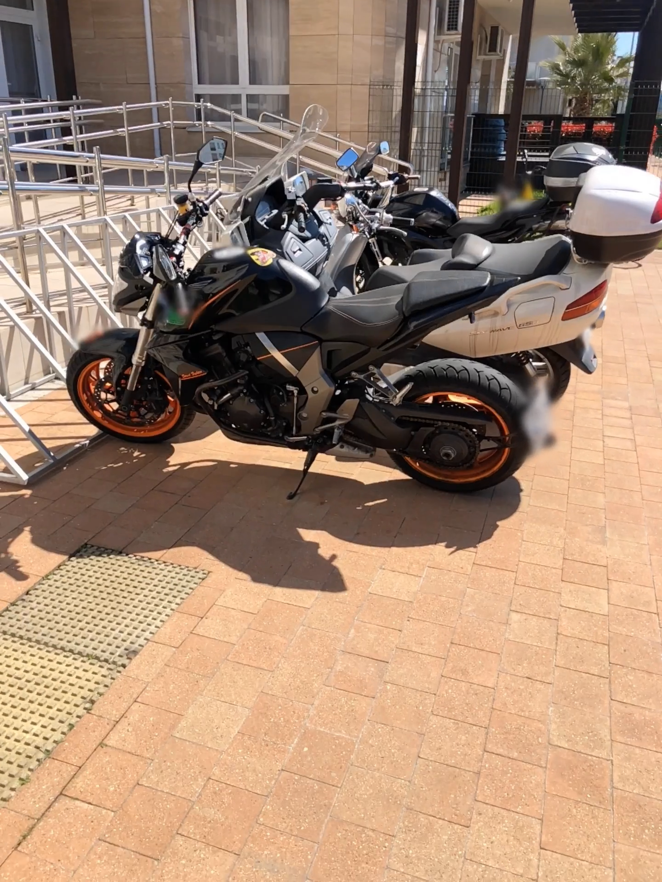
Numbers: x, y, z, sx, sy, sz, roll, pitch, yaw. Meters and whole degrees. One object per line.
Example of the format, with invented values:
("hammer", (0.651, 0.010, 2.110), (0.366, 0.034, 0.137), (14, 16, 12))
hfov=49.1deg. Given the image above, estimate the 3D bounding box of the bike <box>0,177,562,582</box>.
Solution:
("bike", (-0.202, -0.352, 2.859), (1.950, 1.170, 0.799), (8, 24, 15))
